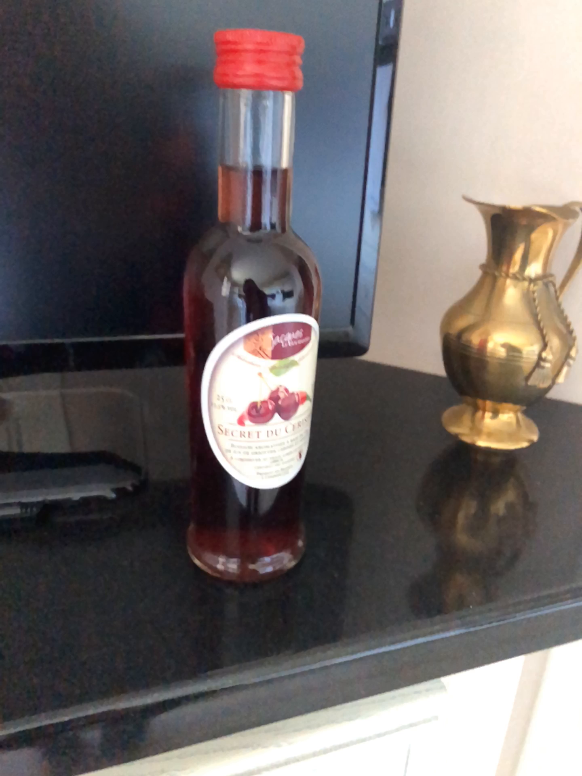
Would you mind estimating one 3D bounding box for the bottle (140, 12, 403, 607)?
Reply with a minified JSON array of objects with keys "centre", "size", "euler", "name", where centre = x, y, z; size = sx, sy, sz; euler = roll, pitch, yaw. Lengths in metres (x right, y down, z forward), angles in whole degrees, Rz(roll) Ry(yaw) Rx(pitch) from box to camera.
[{"centre":[-0.015,-0.026,0.274],"size":[0.070,0.219,0.070],"euler":[2,23,-1],"name":"bottle"}]
